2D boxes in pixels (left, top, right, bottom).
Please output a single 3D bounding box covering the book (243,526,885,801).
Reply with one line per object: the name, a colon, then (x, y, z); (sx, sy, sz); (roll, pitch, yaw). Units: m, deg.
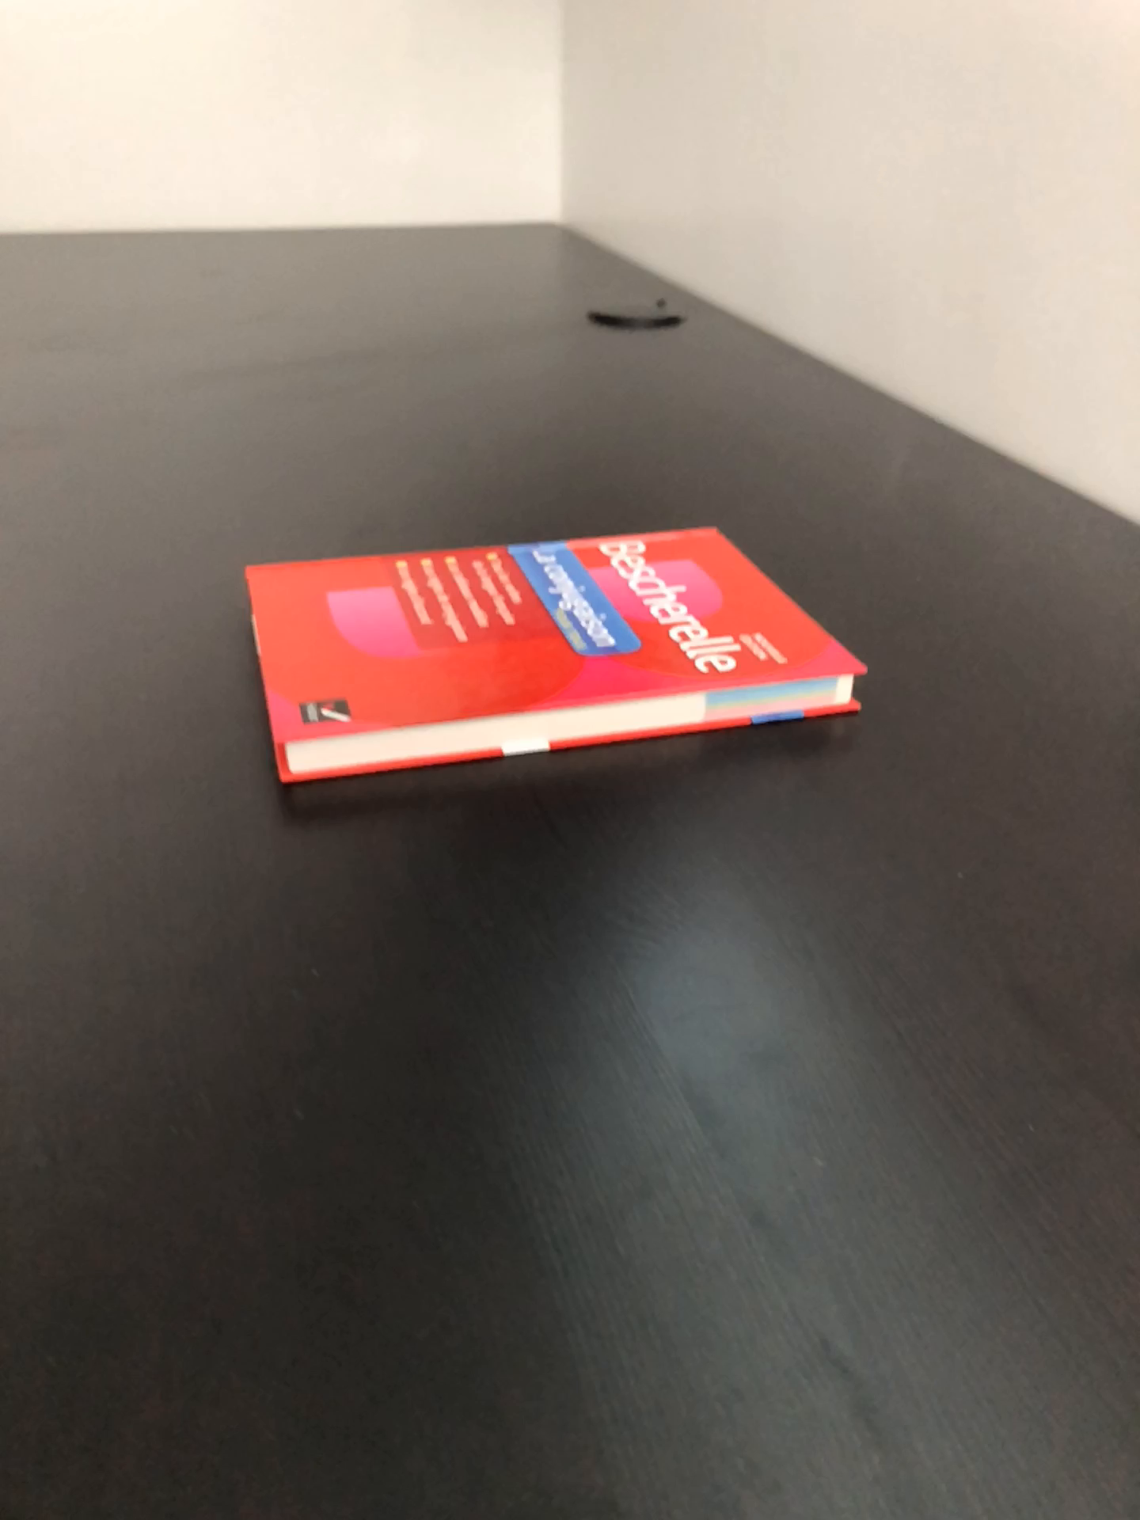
book: (-0.012, -0.045, 0.467); (0.204, 0.020, 0.151); (-7, 31, -14)
